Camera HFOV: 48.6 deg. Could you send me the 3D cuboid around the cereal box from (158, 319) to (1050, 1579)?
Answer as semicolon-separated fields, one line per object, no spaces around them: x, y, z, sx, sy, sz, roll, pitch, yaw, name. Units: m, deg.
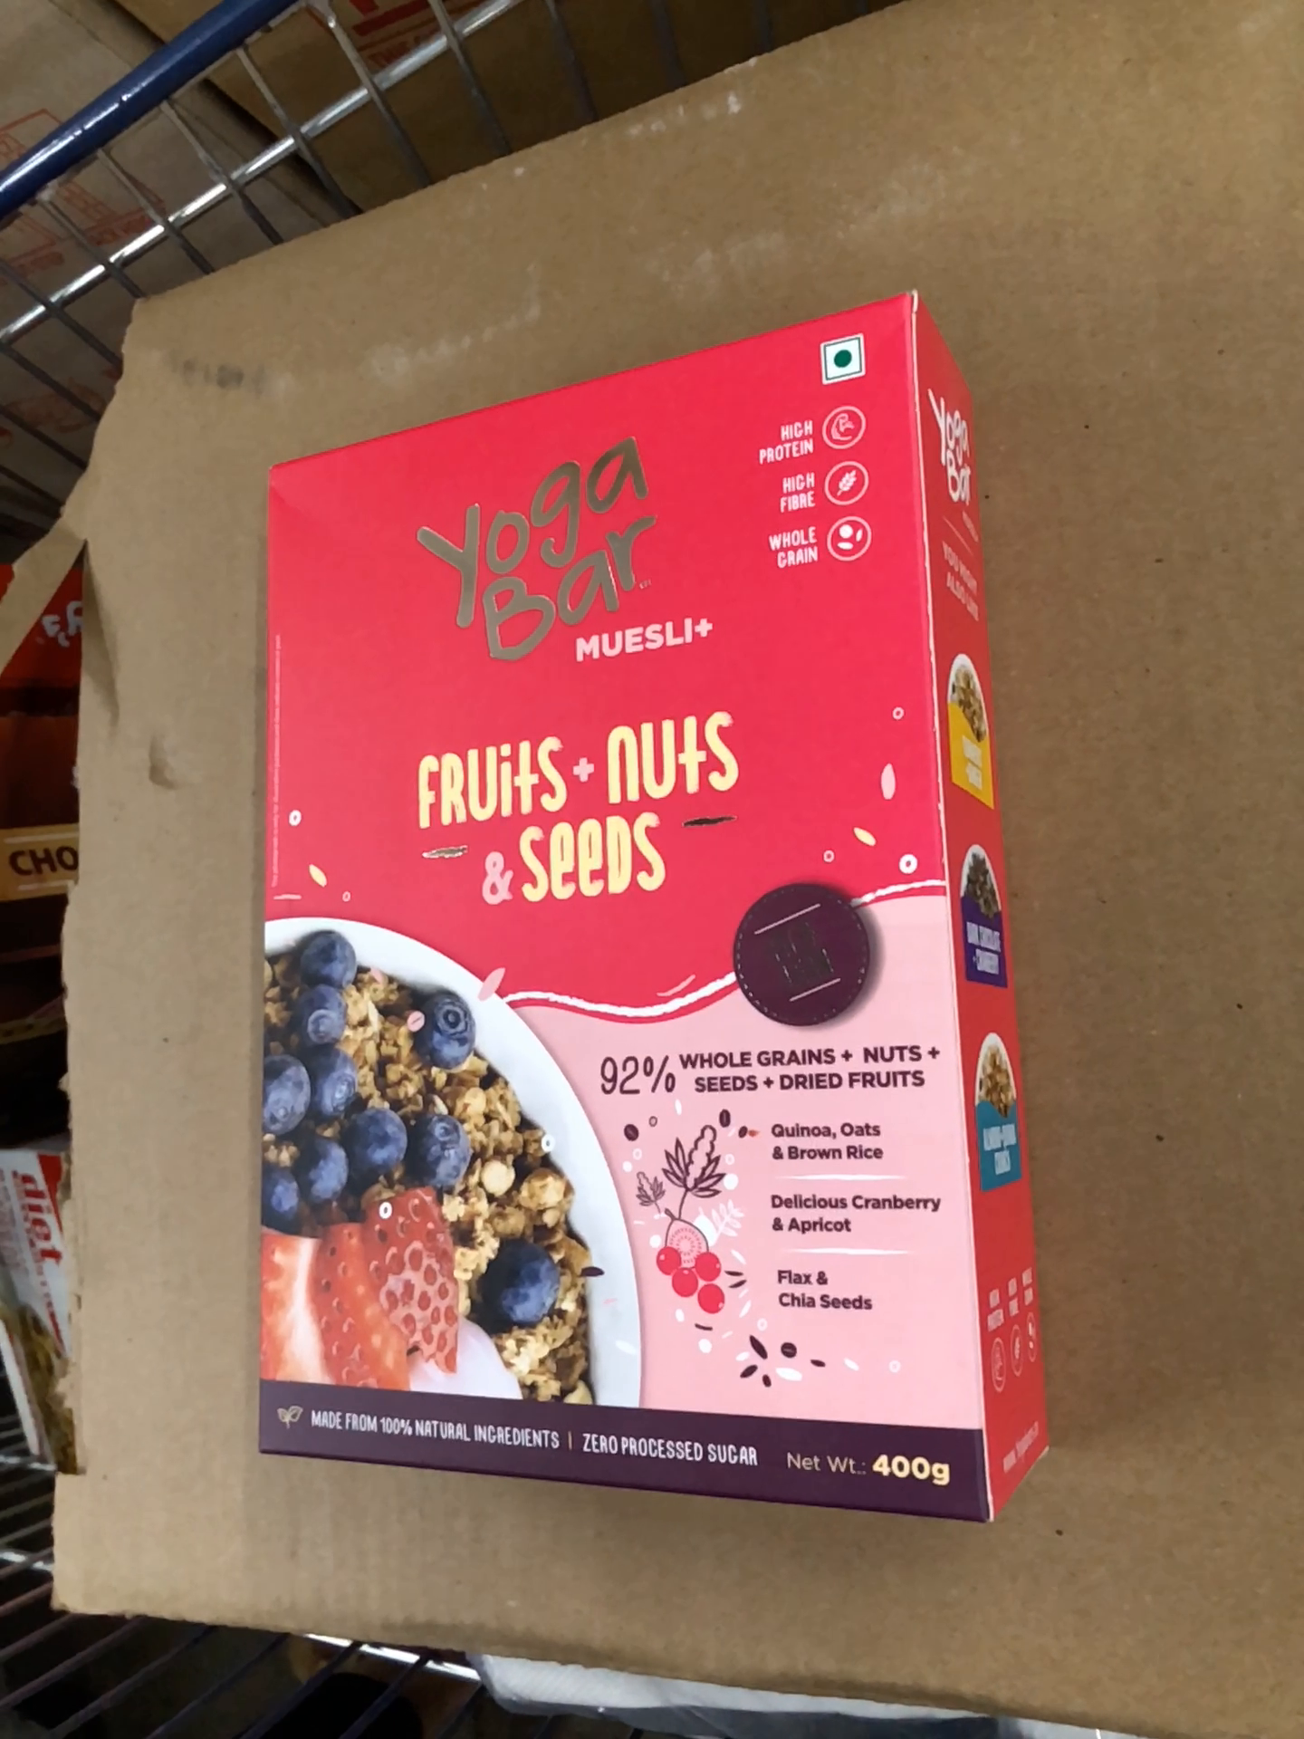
-0.016;0.017;0.303;0.170;0.060;0.210;-5;83;24;cereal box
